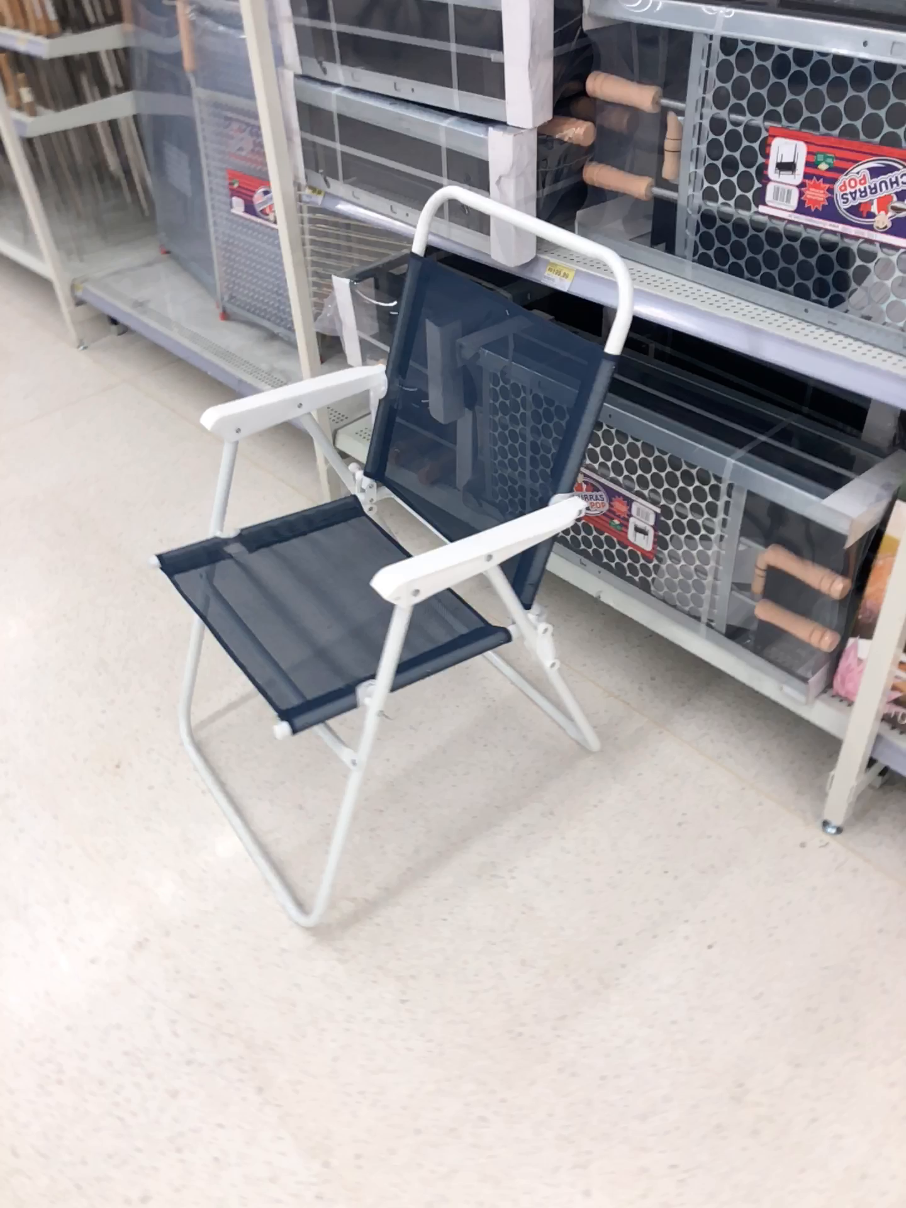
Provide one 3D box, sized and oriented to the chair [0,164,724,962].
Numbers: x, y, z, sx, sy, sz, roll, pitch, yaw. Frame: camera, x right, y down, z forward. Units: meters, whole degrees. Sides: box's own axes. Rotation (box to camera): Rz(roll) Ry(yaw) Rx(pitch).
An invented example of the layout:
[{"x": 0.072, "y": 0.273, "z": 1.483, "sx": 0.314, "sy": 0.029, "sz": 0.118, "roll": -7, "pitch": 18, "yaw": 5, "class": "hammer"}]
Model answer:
[{"x": -0.102, "y": -0.086, "z": 1.361, "sx": 0.651, "sy": 0.734, "sz": 0.543, "roll": -26, "pitch": 44, "yaw": -23, "class": "chair"}]
